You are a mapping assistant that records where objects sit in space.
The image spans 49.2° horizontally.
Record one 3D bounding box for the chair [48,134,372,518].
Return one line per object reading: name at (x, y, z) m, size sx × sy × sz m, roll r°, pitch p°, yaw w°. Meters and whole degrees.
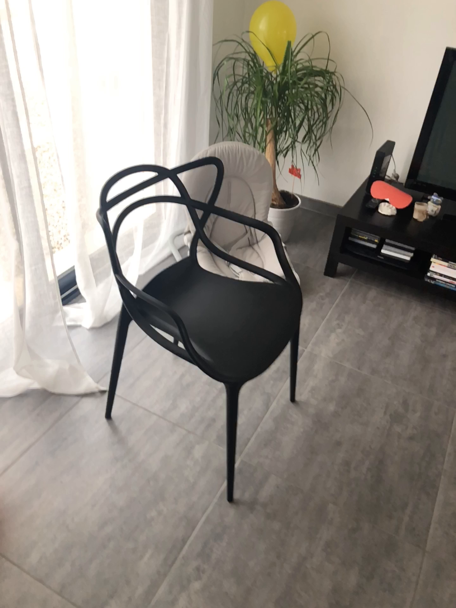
chair at (-0.040, 0.040, 1.463) m, size 0.585 × 0.795 × 0.566 m, roll 22°, pitch 41°, yaw 21°
